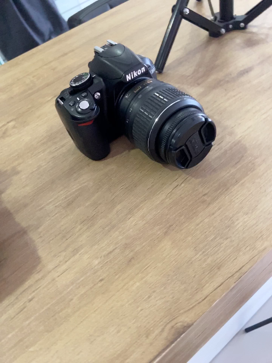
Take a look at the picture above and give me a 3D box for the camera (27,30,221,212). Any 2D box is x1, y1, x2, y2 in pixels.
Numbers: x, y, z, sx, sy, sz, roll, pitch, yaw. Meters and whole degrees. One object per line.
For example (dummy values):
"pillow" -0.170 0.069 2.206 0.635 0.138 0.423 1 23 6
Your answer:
"camera" -0.017 -0.082 0.324 0.130 0.090 0.181 -34 49 -14
